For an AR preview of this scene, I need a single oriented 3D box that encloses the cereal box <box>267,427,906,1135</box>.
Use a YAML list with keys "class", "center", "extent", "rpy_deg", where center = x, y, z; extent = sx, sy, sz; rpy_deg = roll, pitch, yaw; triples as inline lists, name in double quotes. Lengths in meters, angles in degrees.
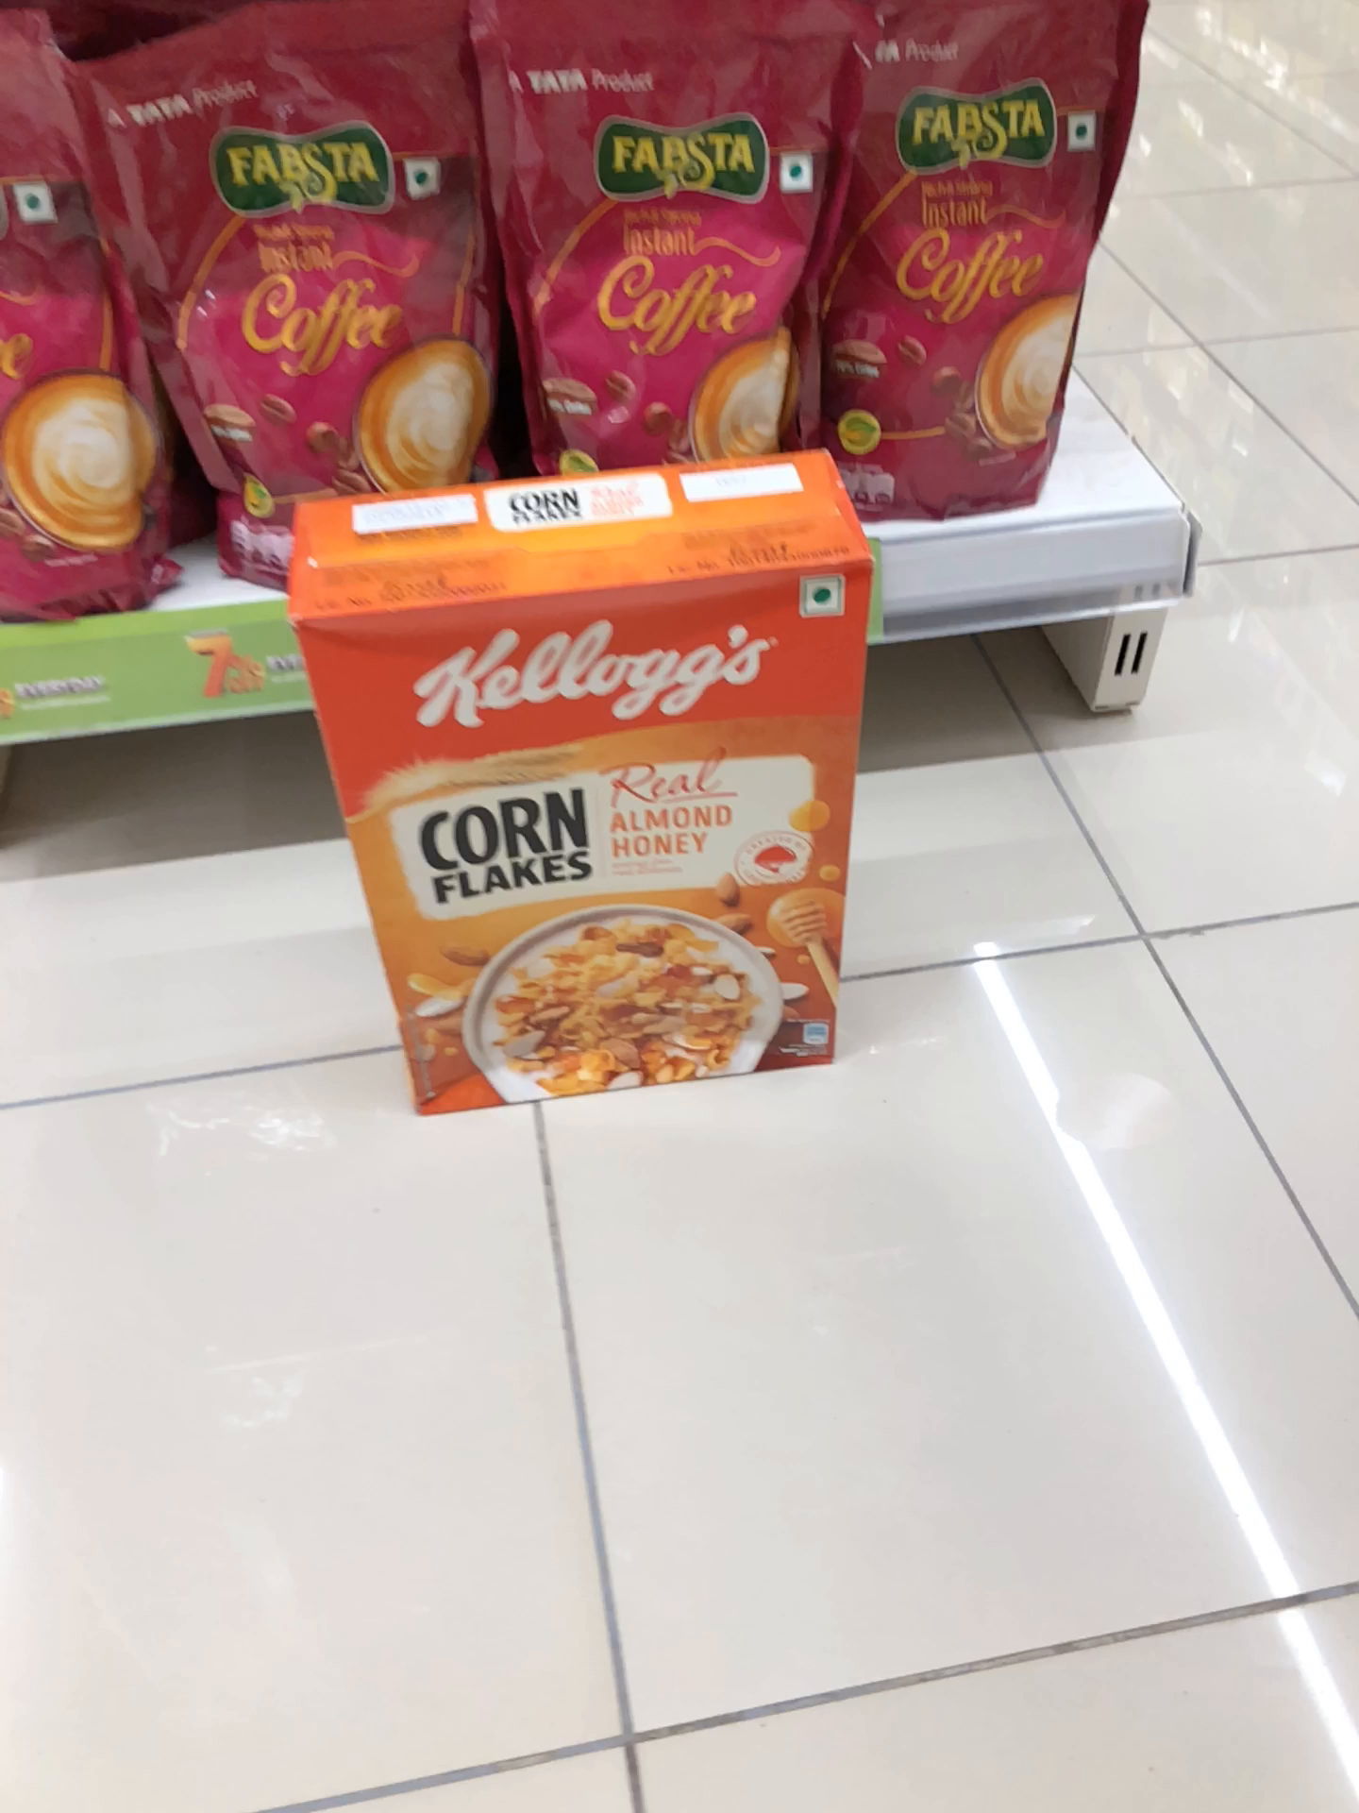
- class: "cereal box"
  center: [-0.027, -0.036, 0.591]
  extent: [0.200, 0.268, 0.080]
  rpy_deg: [-6, 44, -3]
